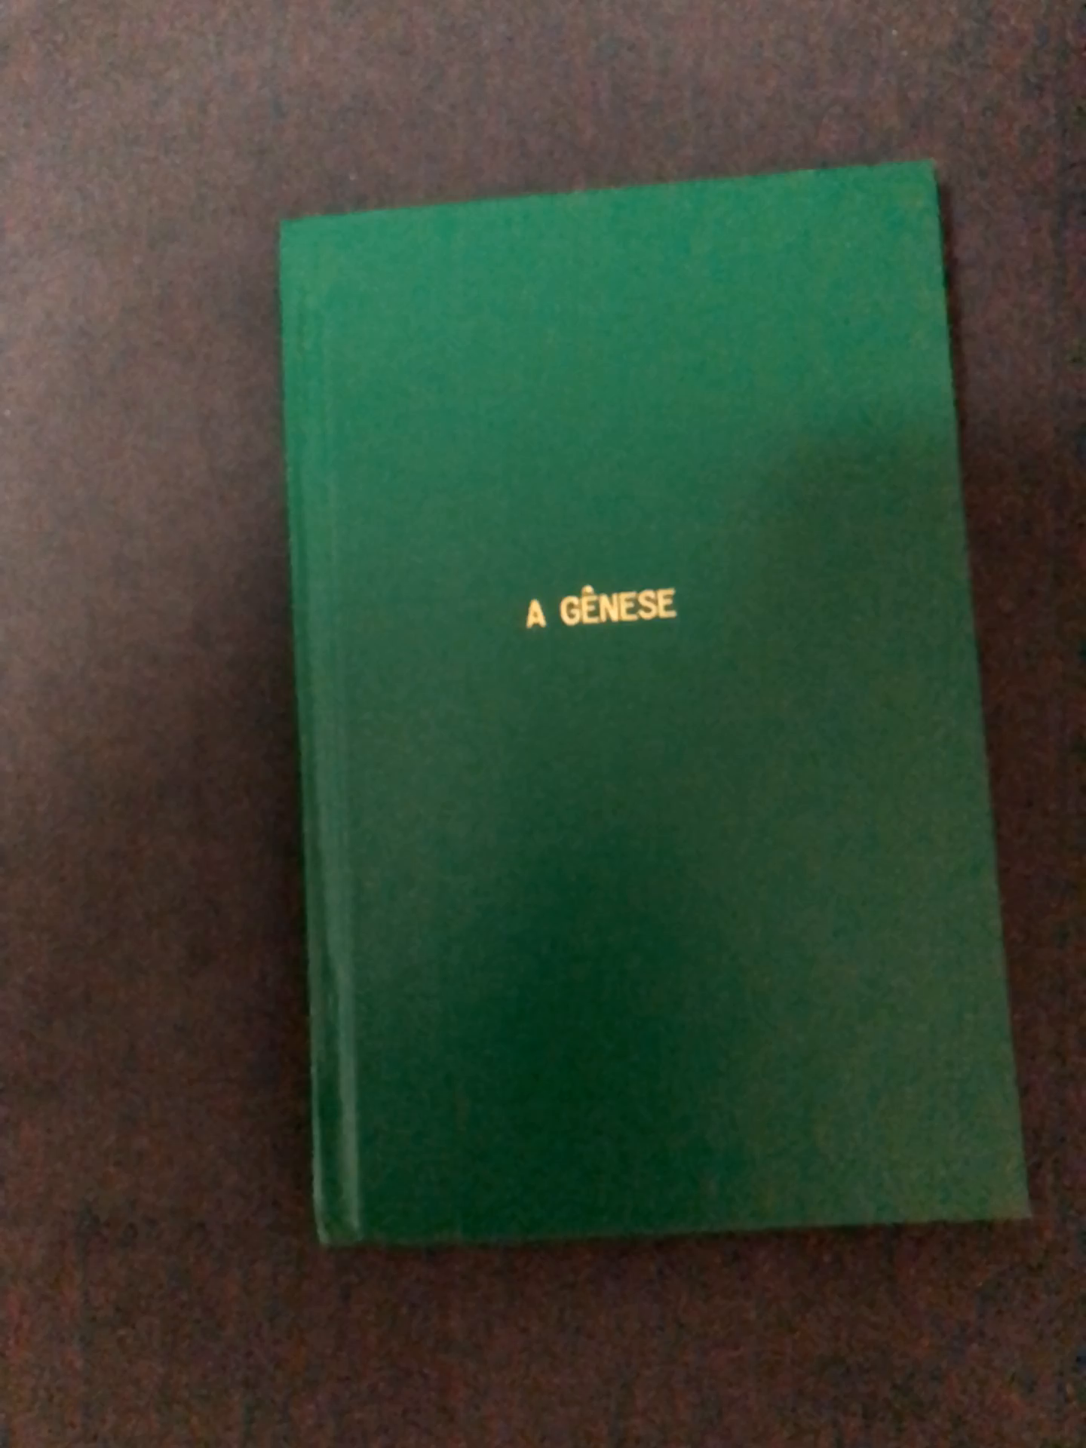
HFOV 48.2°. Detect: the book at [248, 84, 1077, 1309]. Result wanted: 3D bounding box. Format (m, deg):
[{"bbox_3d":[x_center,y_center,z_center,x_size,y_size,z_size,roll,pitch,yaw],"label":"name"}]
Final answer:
[{"bbox_3d":[0.020,-0.008,0.267,0.150,0.040,0.240,-4,84,4],"label":"book"}]
